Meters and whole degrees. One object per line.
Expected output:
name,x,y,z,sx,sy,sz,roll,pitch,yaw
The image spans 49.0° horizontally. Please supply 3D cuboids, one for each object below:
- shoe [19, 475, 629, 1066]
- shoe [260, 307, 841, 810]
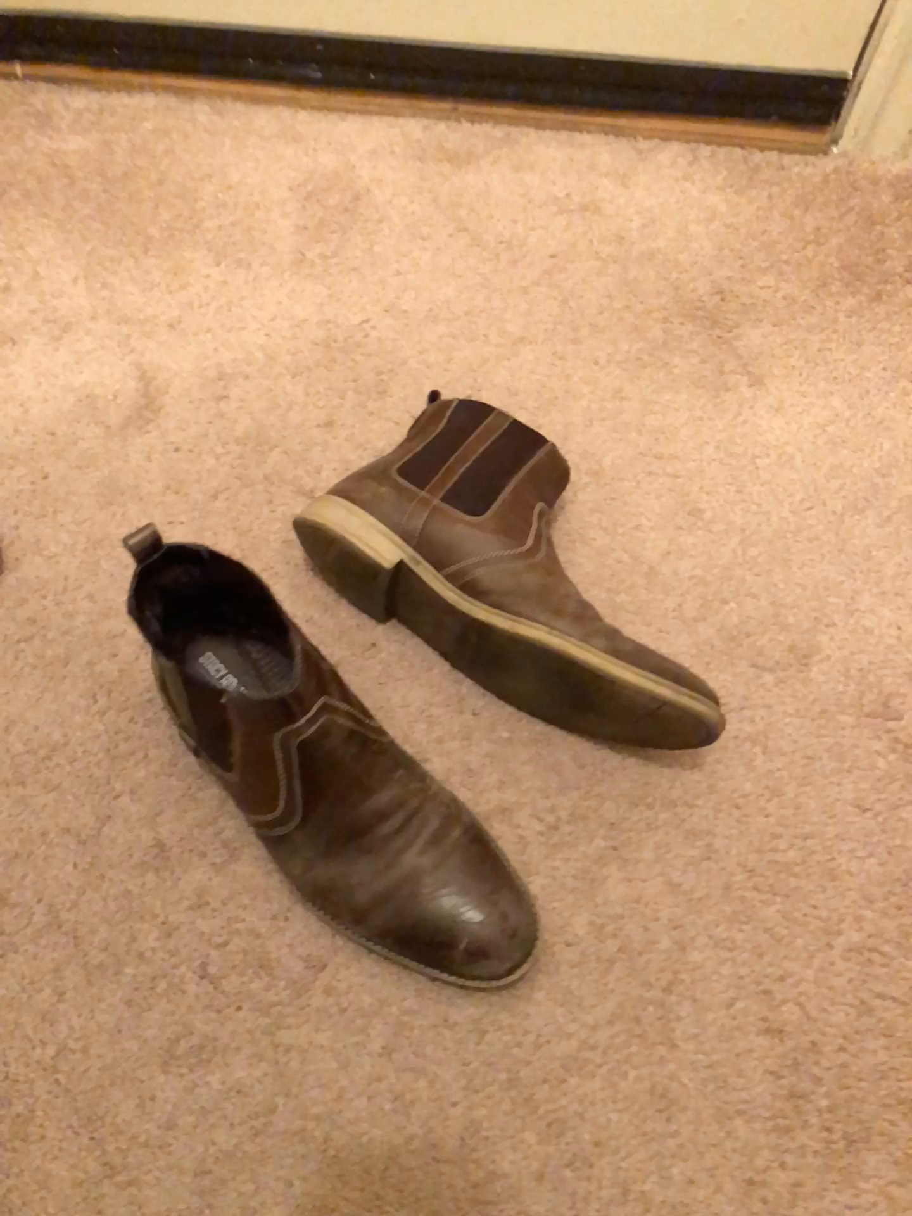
shoe,-0.075,0.096,0.570,0.308,0.176,0.115,39,68,16
shoe,0.058,-0.038,0.679,0.313,0.115,0.186,30,67,13
